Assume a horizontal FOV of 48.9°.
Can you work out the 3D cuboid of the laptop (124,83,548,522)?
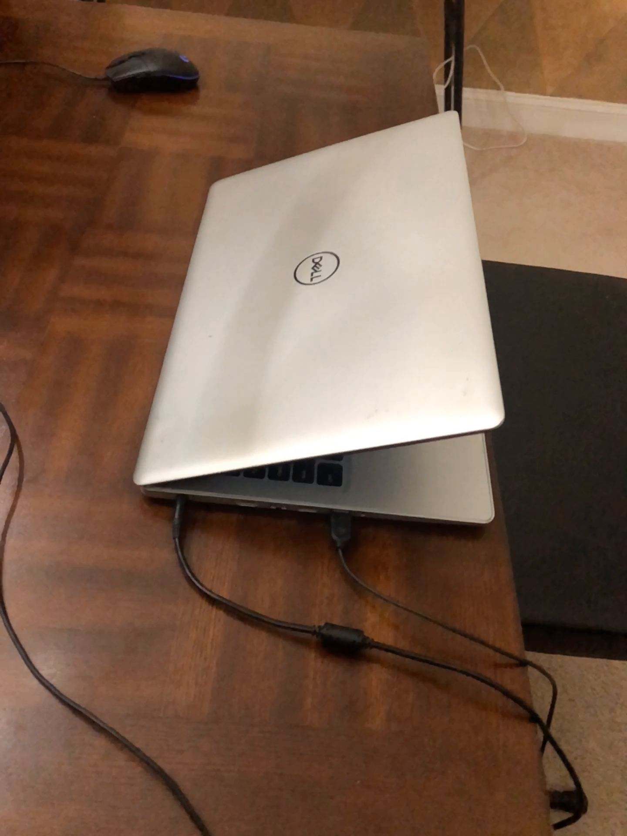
[{"bbox_3d":[0.022,-0.114,0.556,0.249,0.103,0.370,6,51,-4],"label":"laptop"}]
